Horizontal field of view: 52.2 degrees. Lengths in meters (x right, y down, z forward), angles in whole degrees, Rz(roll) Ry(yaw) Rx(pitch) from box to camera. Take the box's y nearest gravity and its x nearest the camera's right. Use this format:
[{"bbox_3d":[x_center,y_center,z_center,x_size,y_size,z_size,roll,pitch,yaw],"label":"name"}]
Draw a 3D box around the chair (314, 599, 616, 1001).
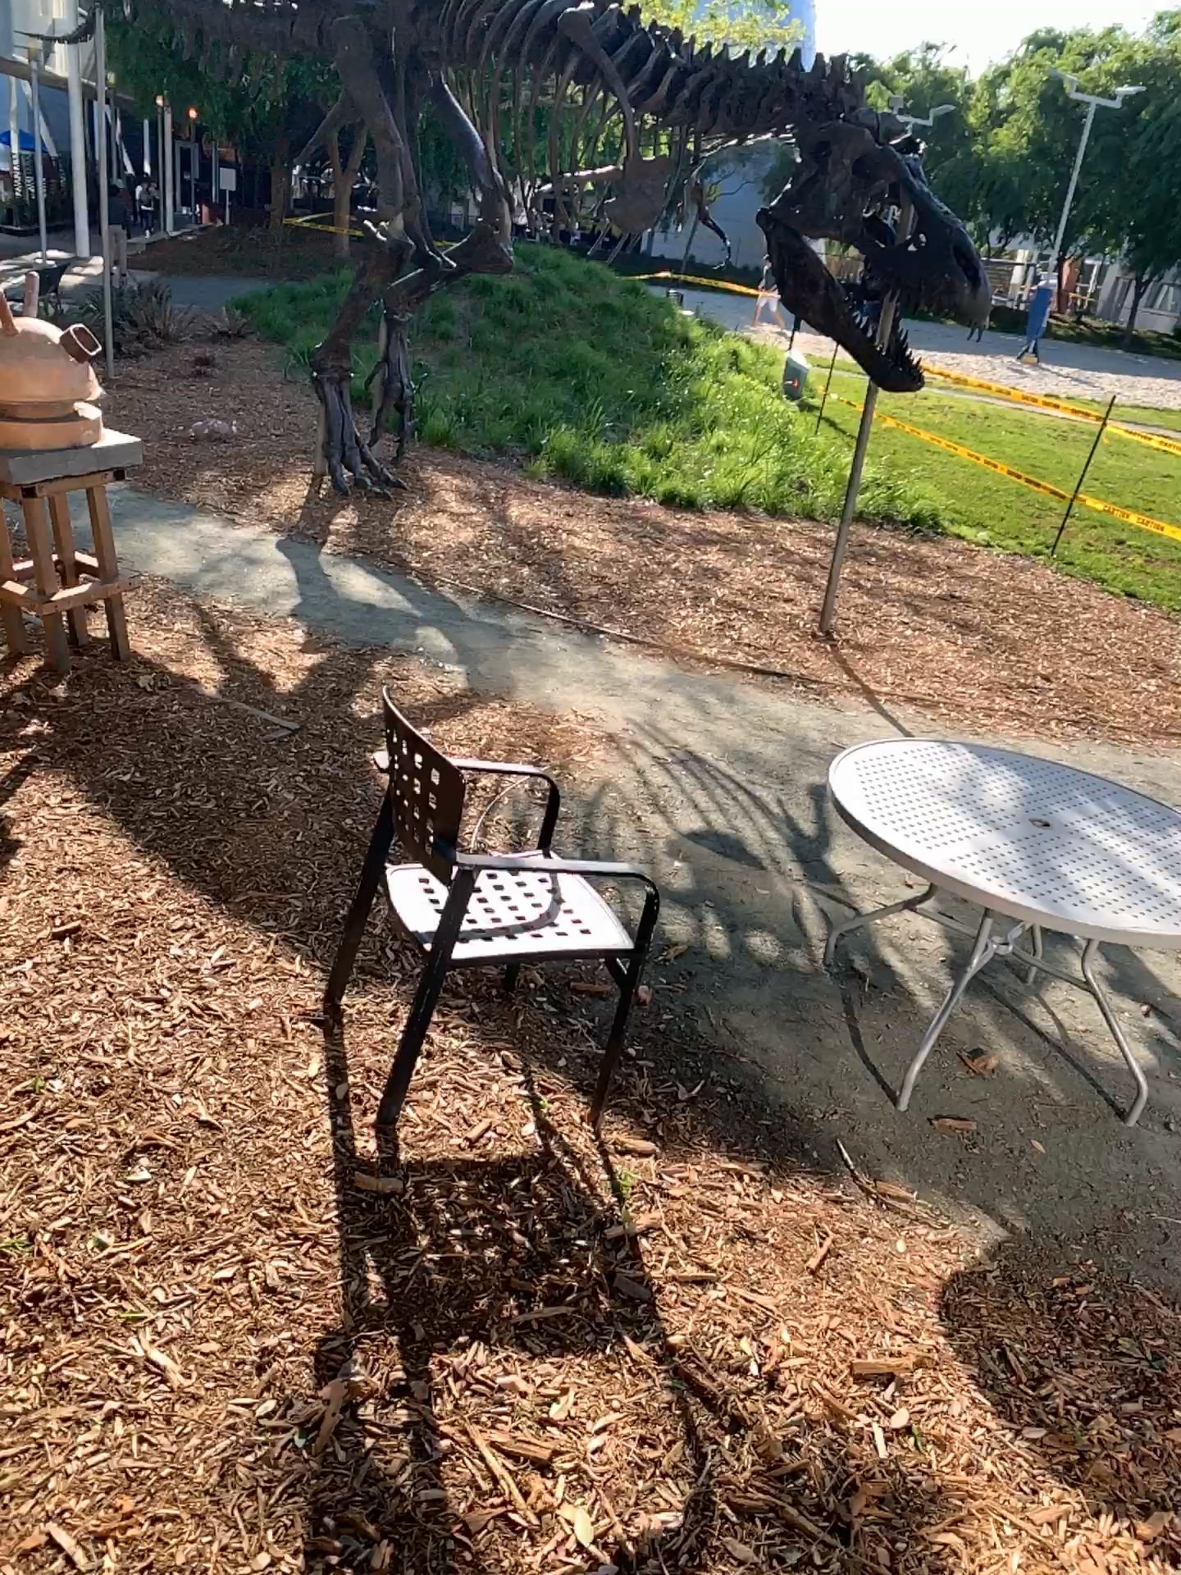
[{"bbox_3d":[-0.317,0.004,2.724,0.500,0.717,0.523,-3,27,-22],"label":"chair"}]
